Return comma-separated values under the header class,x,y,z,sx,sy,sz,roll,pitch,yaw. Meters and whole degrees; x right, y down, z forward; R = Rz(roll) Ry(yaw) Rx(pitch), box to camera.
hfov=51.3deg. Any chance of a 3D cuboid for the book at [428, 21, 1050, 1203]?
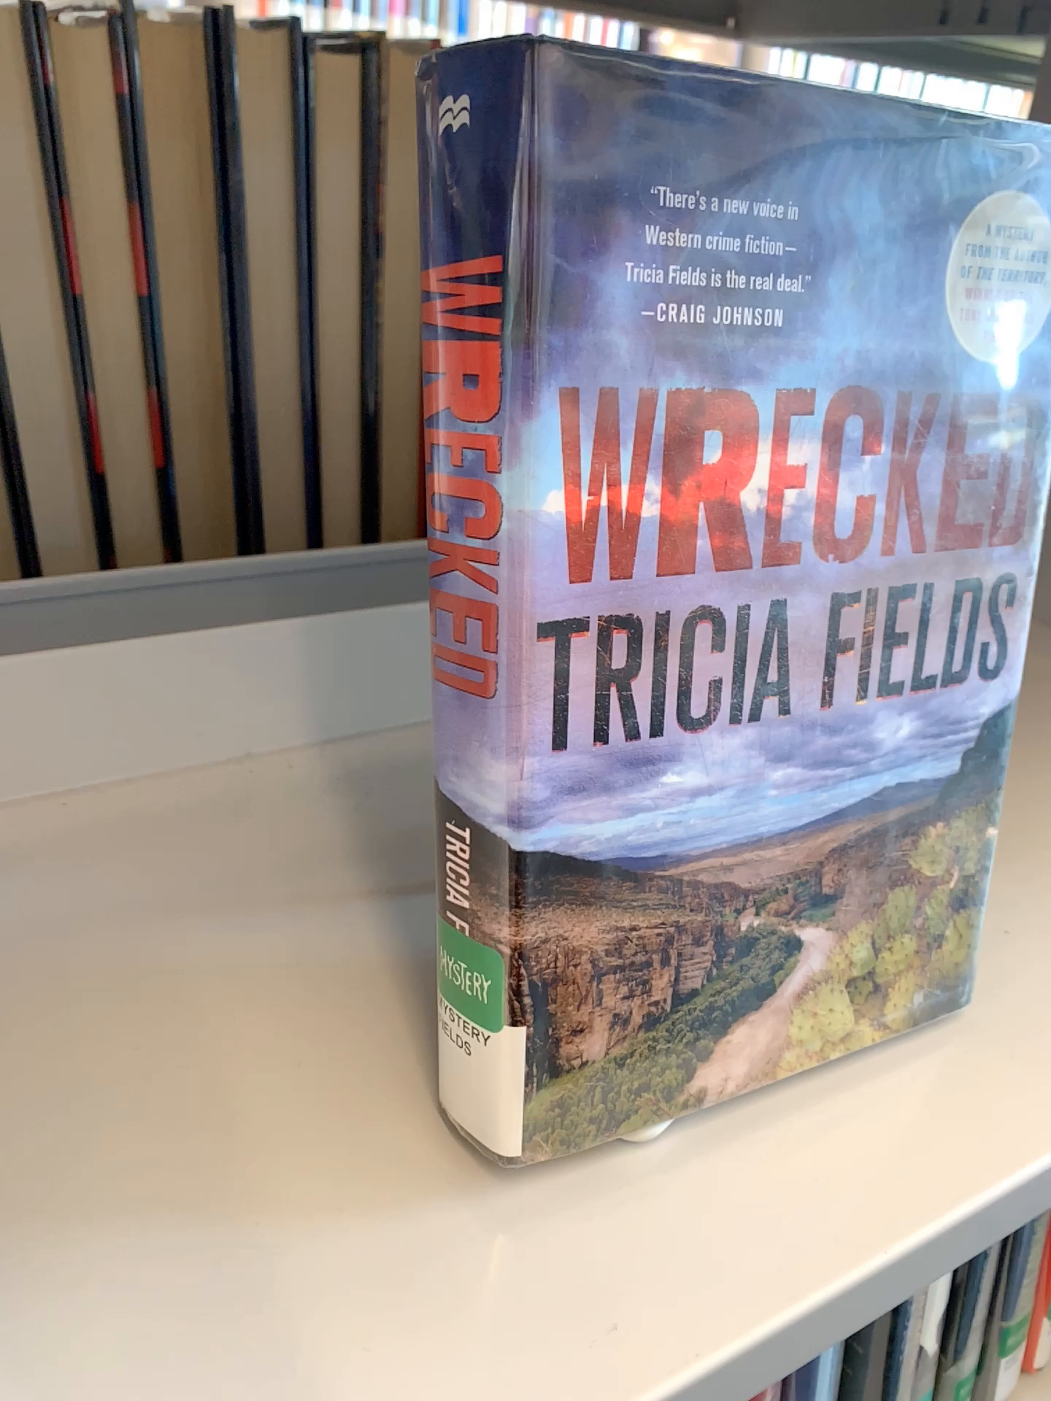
class,x,y,z,sx,sy,sz,roll,pitch,yaw
book,0.056,-0.013,0.241,0.150,0.213,0.034,-8,20,-27
